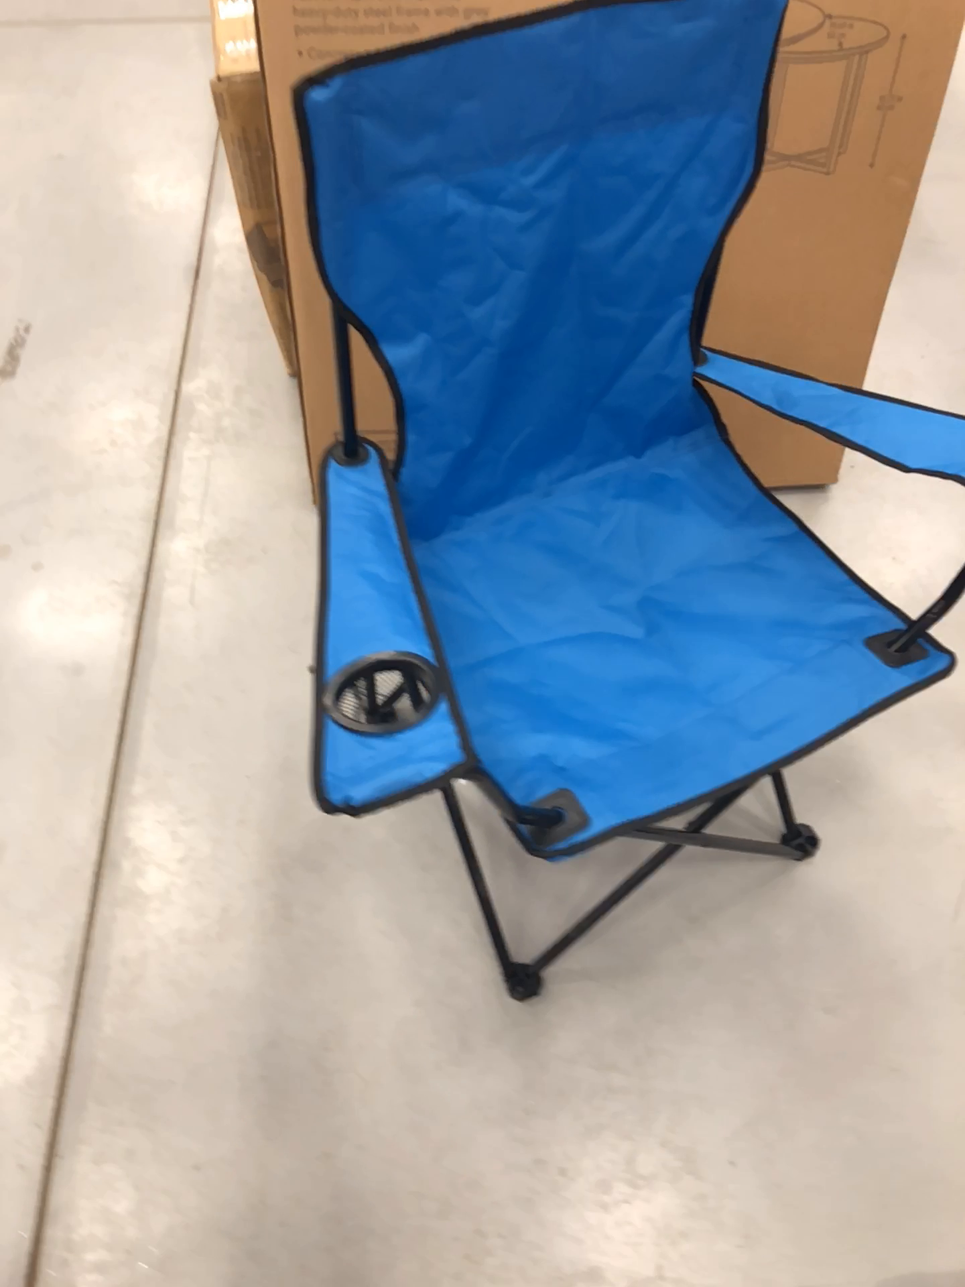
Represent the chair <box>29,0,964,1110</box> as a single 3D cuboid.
[{"bbox_3d":[0.127,-0.100,1.122,0.790,0.838,0.621,-22,57,-18],"label":"chair"}]
